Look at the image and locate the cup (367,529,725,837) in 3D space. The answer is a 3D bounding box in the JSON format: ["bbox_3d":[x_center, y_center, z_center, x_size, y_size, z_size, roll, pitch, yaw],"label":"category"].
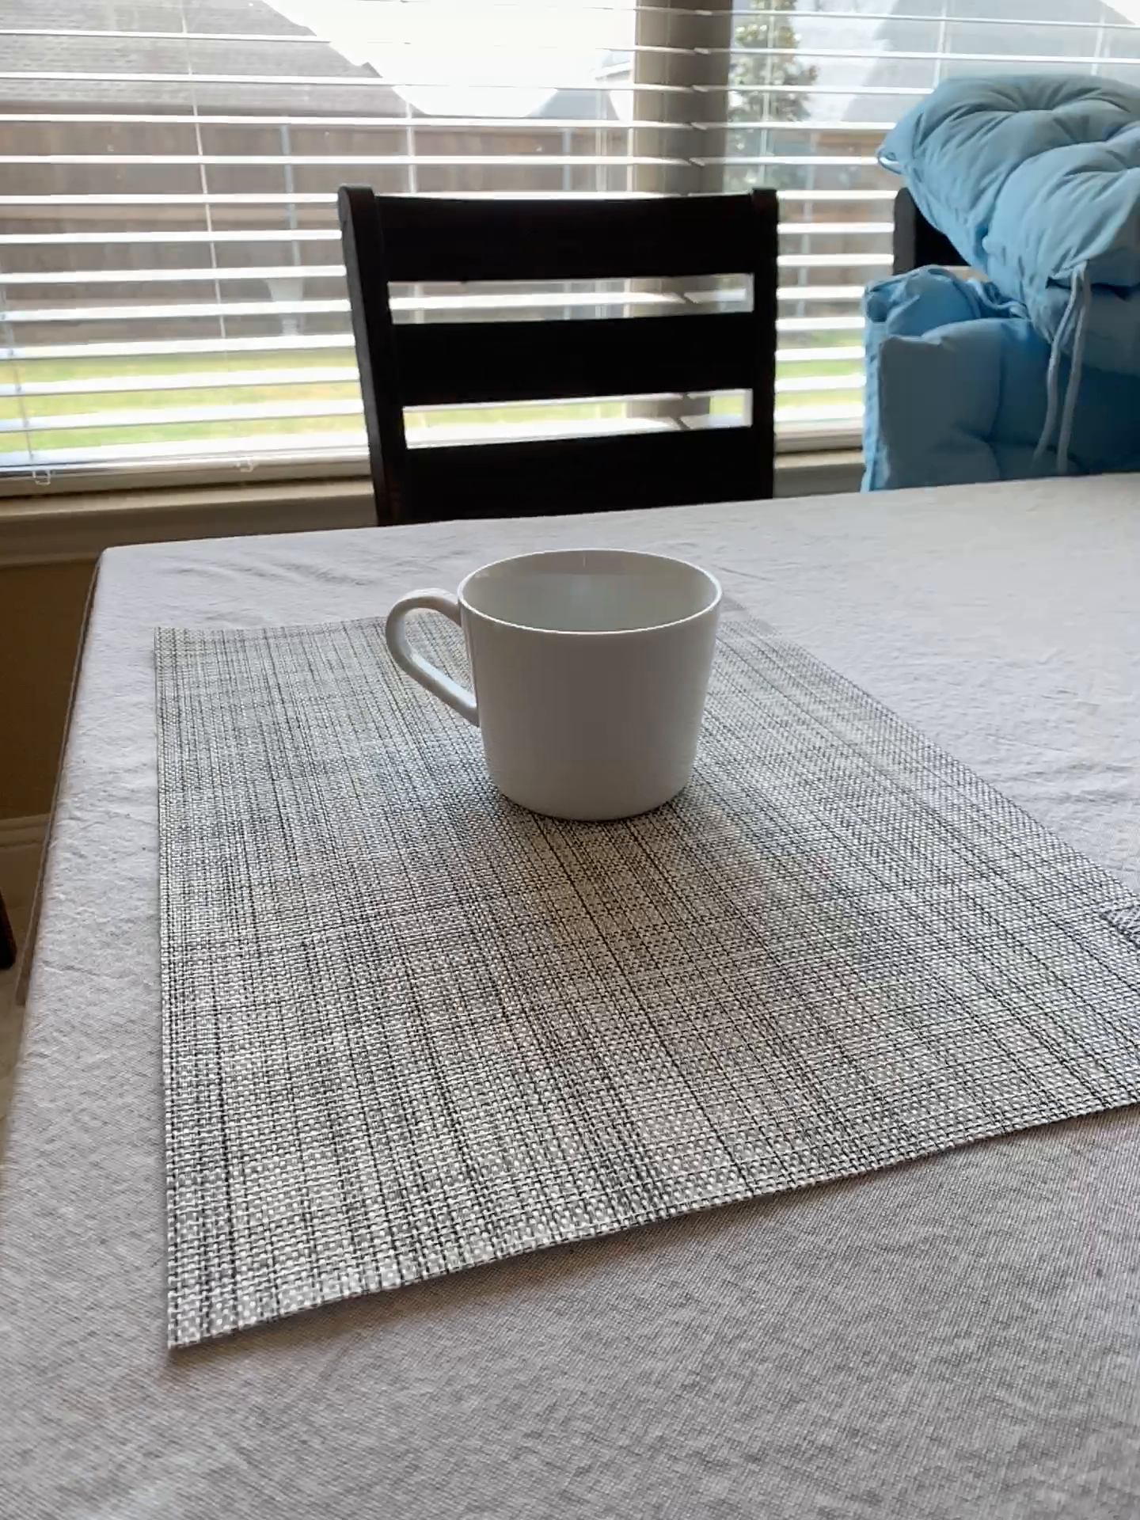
[{"bbox_3d":[-0.003,-0.035,0.461,0.121,0.081,0.100,4,26,7],"label":"cup"}]
